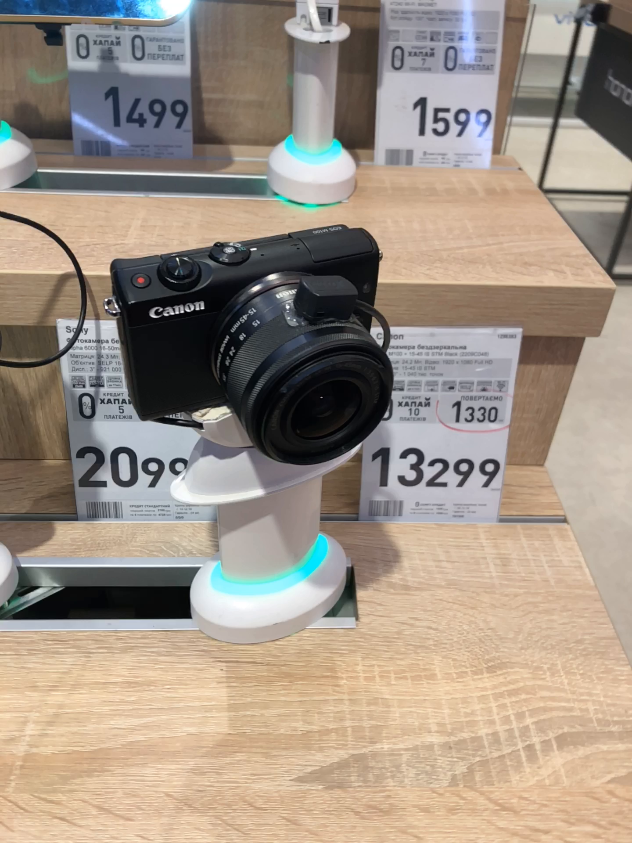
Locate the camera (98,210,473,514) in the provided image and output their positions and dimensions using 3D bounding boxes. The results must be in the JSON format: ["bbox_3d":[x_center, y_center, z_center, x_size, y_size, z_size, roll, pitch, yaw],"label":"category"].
[{"bbox_3d":[-0.015,-0.030,0.271,0.112,0.060,0.082,-15,45,-22],"label":"camera"}]
